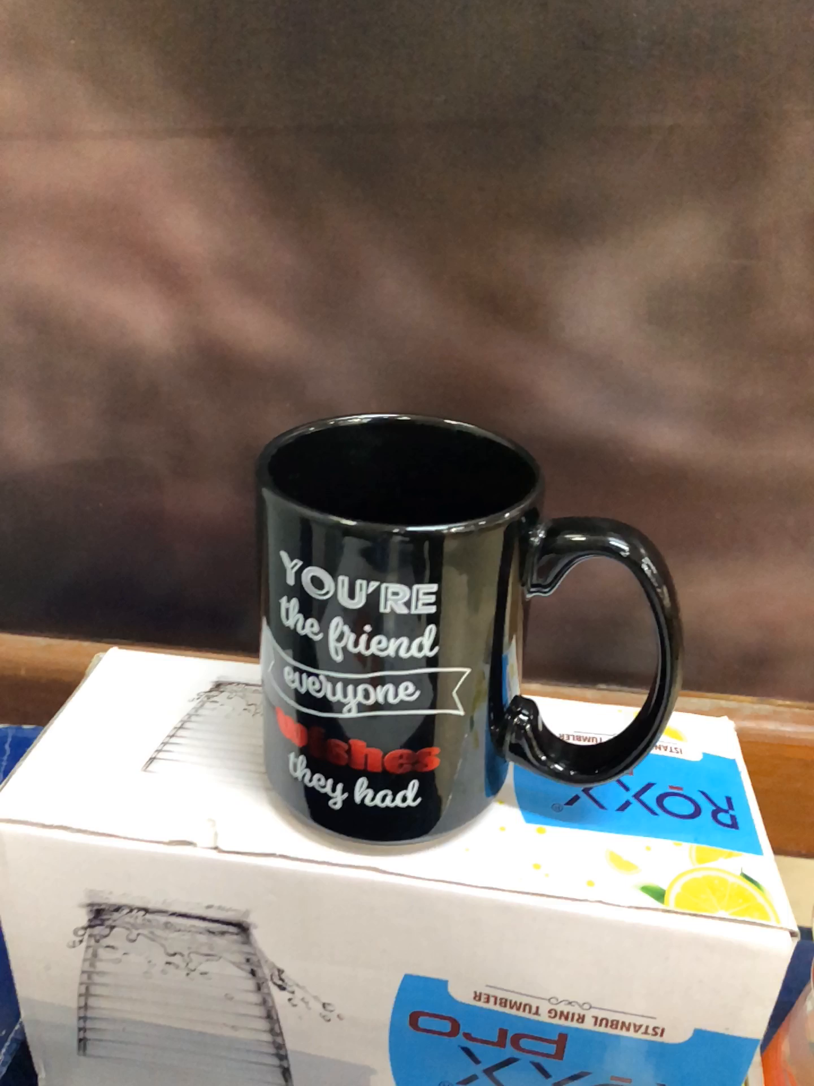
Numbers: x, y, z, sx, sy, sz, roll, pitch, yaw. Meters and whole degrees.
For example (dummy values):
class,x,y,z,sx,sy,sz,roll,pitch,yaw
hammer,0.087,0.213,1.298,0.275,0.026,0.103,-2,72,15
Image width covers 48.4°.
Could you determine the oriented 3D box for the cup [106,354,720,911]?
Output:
class,x,y,z,sx,sy,sz,roll,pitch,yaw
cup,0.007,0.016,0.250,0.130,0.109,0.091,5,26,11
